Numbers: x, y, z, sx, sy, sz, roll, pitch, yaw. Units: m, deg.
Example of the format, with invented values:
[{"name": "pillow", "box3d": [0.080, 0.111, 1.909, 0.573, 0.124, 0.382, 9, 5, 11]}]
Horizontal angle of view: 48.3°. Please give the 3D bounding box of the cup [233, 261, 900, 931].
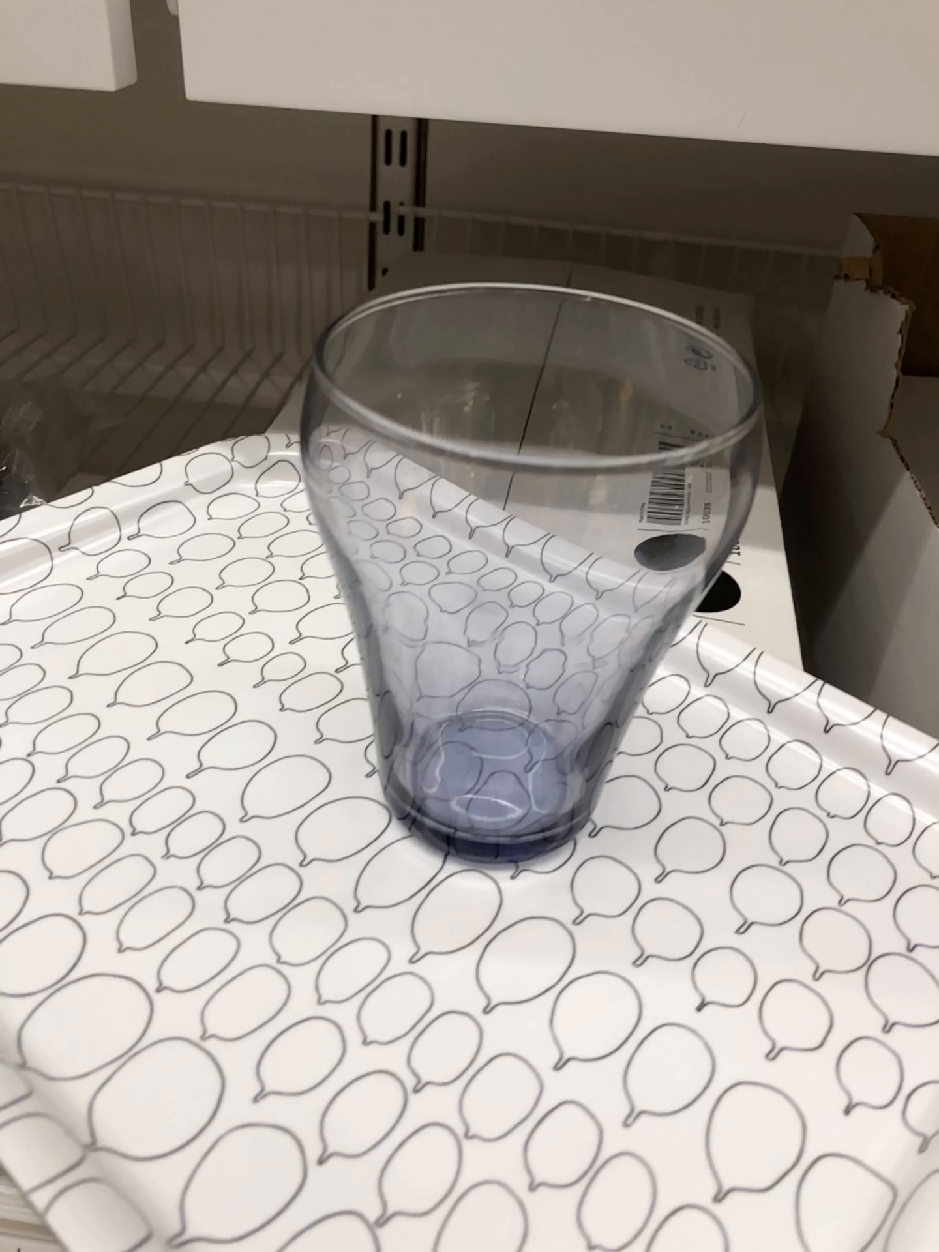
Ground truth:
[{"name": "cup", "box3d": [0.007, -0.014, 0.195, 0.080, 0.080, 0.090, -9, 36, -19]}]
